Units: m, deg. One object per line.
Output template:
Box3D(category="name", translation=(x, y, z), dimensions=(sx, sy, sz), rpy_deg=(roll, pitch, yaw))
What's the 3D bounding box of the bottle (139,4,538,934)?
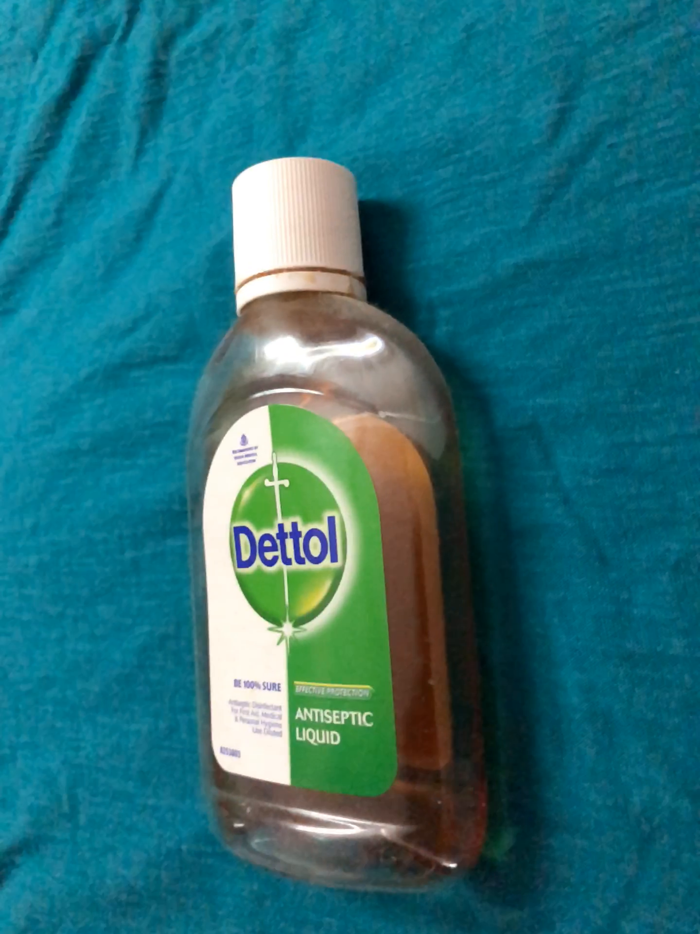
Box3D(category="bottle", translation=(-0.007, -0.001, 0.189), dimensions=(0.080, 0.040, 0.180), rpy_deg=(-7, 81, 32))
